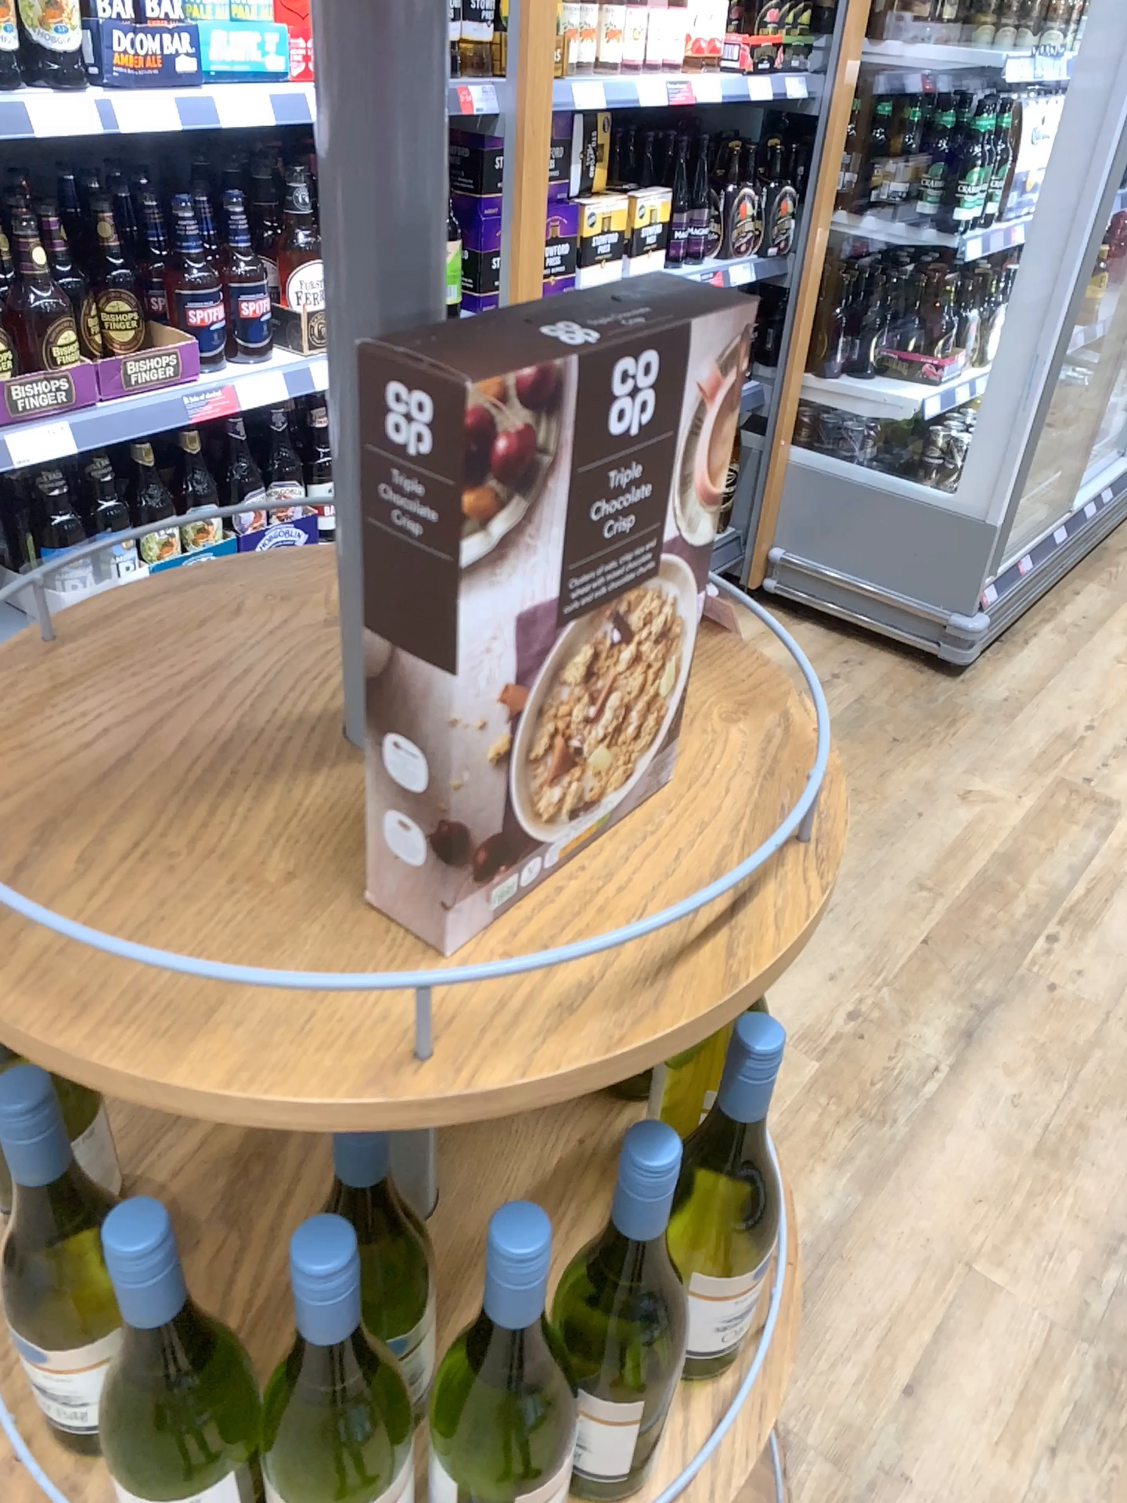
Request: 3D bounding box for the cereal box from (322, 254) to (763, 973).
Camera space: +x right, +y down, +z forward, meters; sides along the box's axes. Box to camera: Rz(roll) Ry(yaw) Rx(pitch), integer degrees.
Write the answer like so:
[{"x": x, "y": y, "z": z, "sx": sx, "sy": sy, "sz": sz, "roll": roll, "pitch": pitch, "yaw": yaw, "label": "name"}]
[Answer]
[{"x": -0.008, "y": -0.060, "z": 0.479, "sx": 0.050, "sy": 0.248, "sz": 0.191, "roll": 27, "pitch": 40, "yaw": 28, "label": "cereal box"}]
